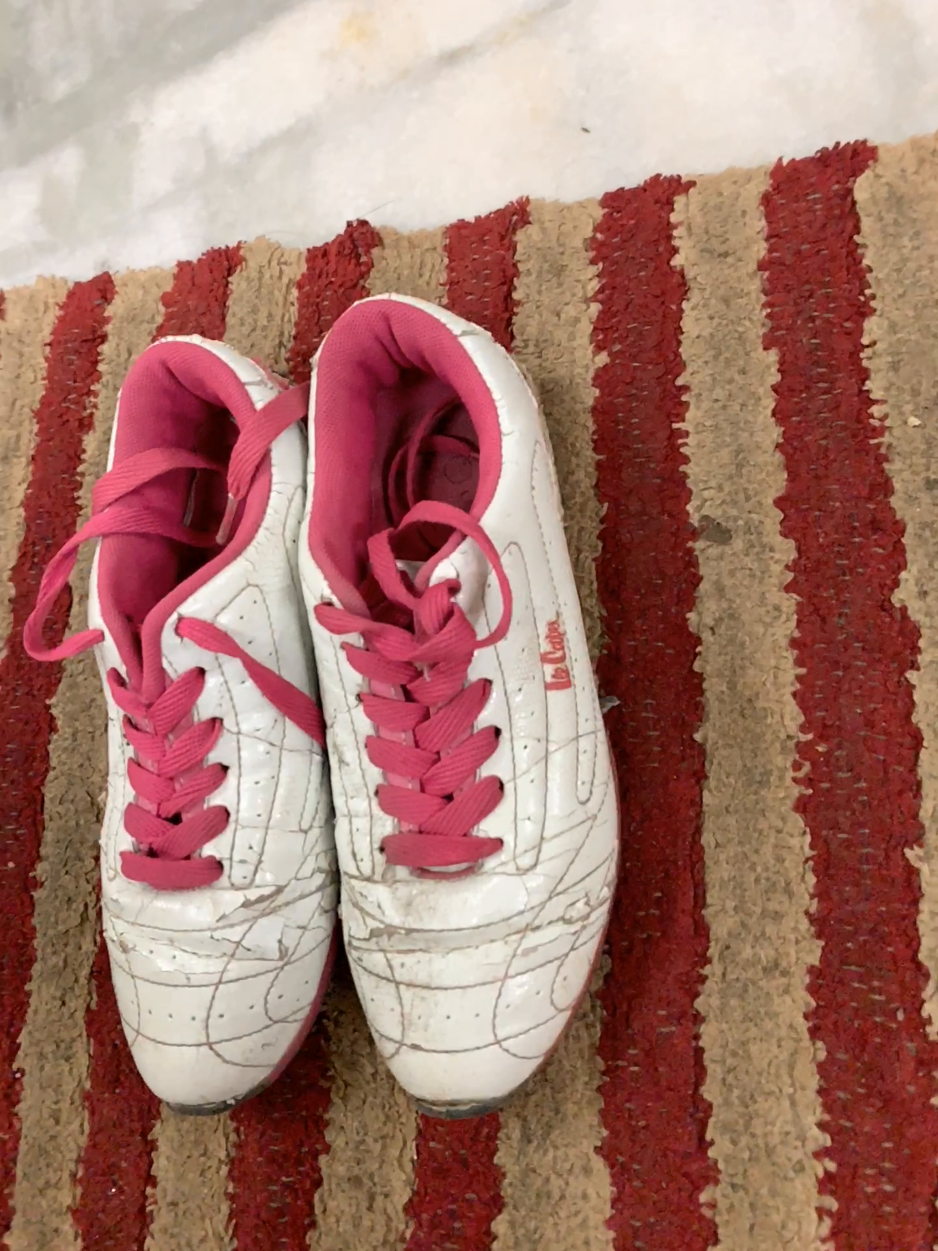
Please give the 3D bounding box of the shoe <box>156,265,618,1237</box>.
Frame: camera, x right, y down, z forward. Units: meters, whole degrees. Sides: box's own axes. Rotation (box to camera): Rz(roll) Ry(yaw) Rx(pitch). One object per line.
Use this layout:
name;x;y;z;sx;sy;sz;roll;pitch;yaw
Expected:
shoe;-0.014;0.031;0.301;0.100;0.100;0.240;-3;77;18

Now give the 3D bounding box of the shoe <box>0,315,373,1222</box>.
shoe;-0.098;0.038;0.318;0.090;0.100;0.240;-3;77;18
